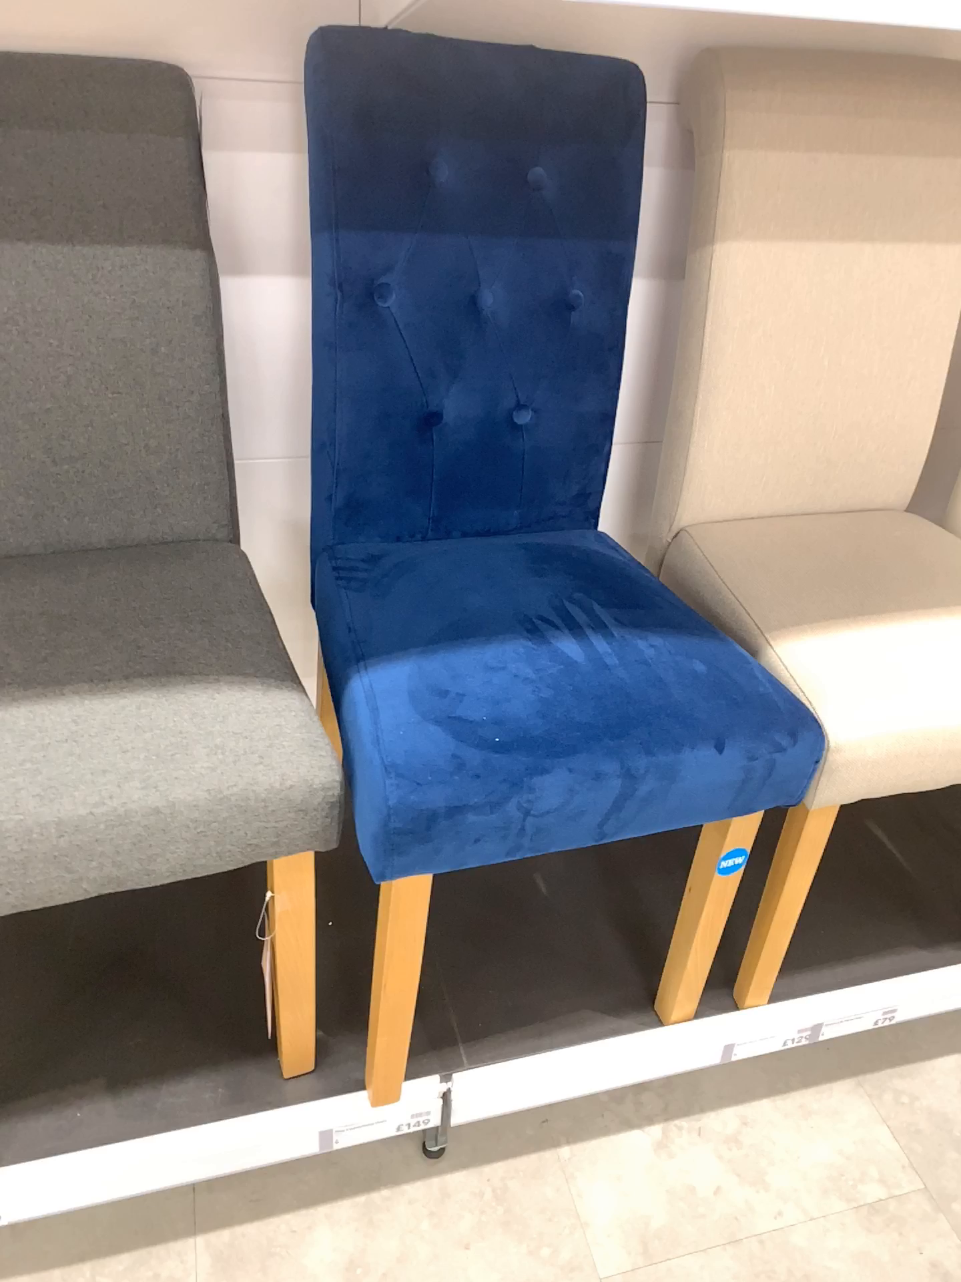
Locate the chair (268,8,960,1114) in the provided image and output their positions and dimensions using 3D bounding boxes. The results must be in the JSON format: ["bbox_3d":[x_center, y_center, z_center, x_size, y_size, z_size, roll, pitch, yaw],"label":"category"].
[{"bbox_3d":[0.040,-0.067,1.014,0.433,0.929,0.524,-5,35,-18],"label":"chair"}]

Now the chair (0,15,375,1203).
[{"bbox_3d":[-0.403,-0.053,0.963,0.413,0.889,0.624,-8,36,-20],"label":"chair"}]
